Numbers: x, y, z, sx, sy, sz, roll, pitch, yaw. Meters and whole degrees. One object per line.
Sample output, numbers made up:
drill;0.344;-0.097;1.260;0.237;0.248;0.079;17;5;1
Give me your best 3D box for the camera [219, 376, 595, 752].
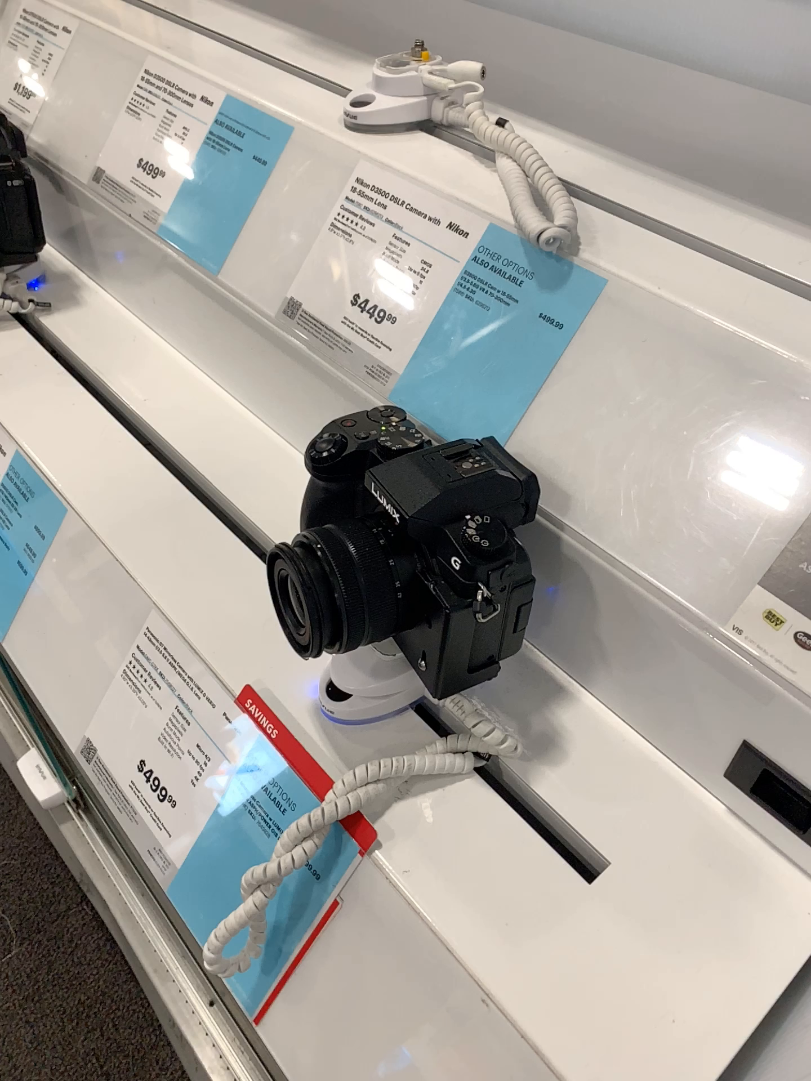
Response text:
camera;-0.004;0.004;0.378;0.114;0.080;0.119;-21;49;-22
